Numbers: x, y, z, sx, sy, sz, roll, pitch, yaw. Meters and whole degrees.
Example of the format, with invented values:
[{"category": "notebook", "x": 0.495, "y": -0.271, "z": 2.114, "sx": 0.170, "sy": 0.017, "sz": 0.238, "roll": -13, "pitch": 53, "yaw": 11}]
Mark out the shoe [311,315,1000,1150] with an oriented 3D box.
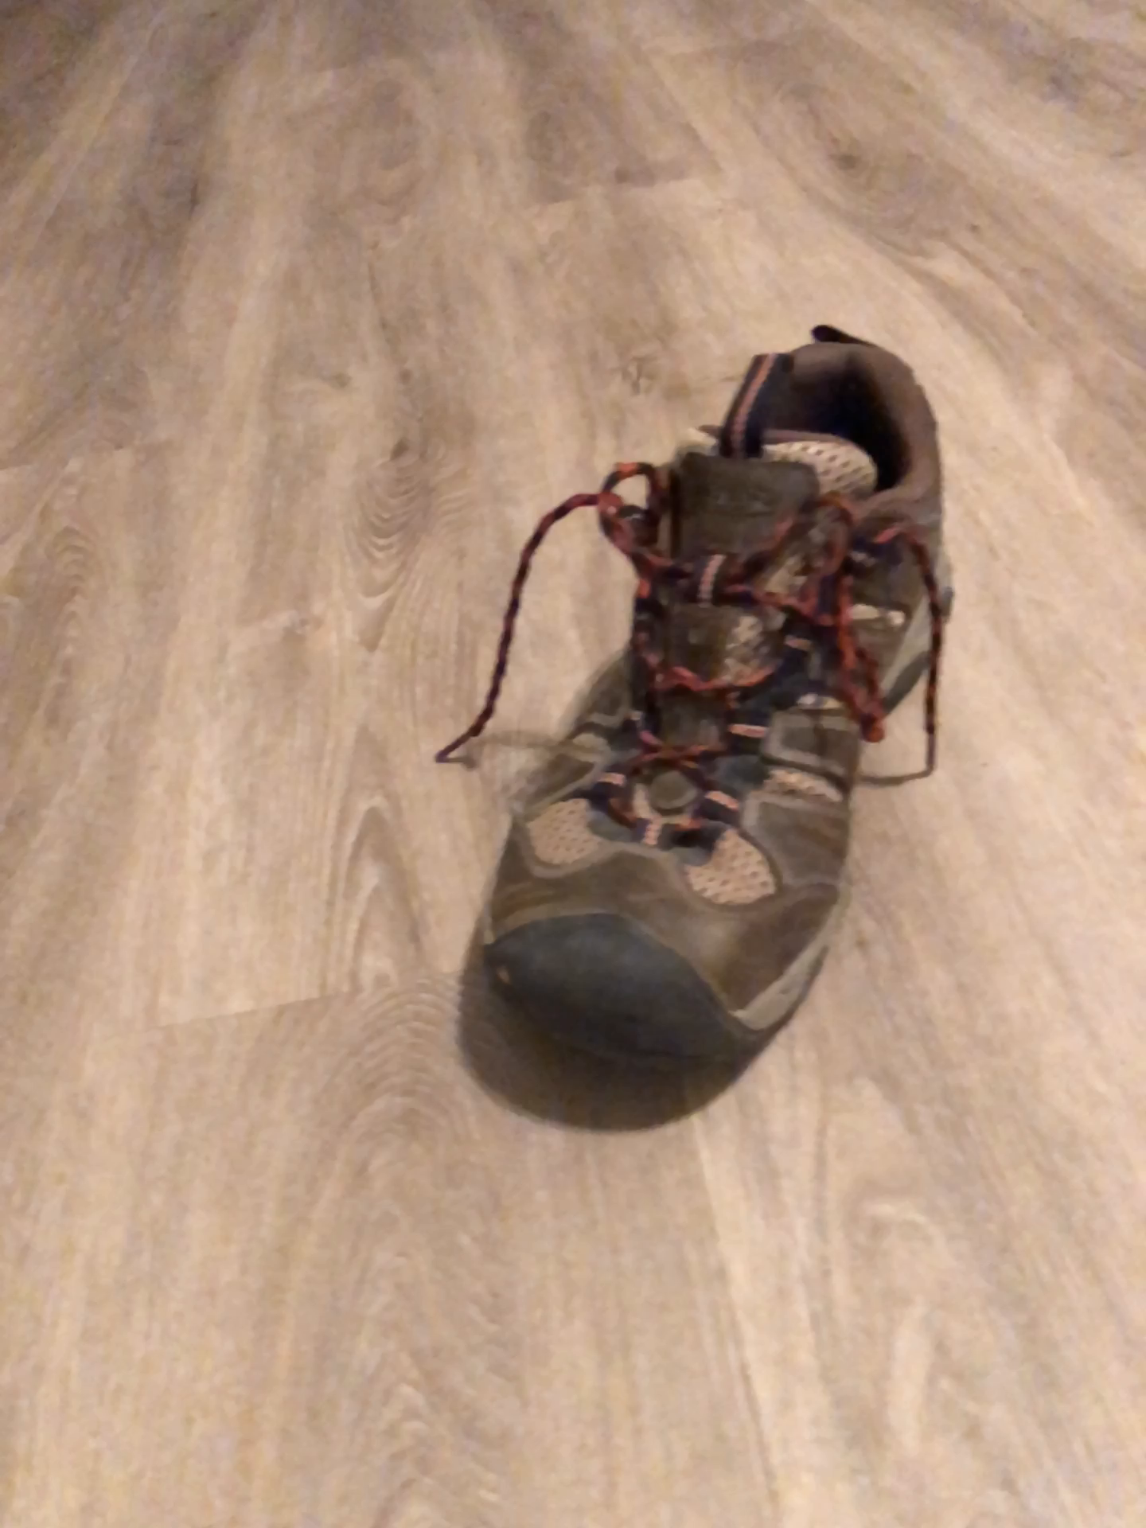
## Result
[{"category": "shoe", "x": 0.048, "y": -0.035, "z": 0.402, "sx": 0.110, "sy": 0.099, "sz": 0.271, "roll": 12, "pitch": 45, "yaw": 23}]
